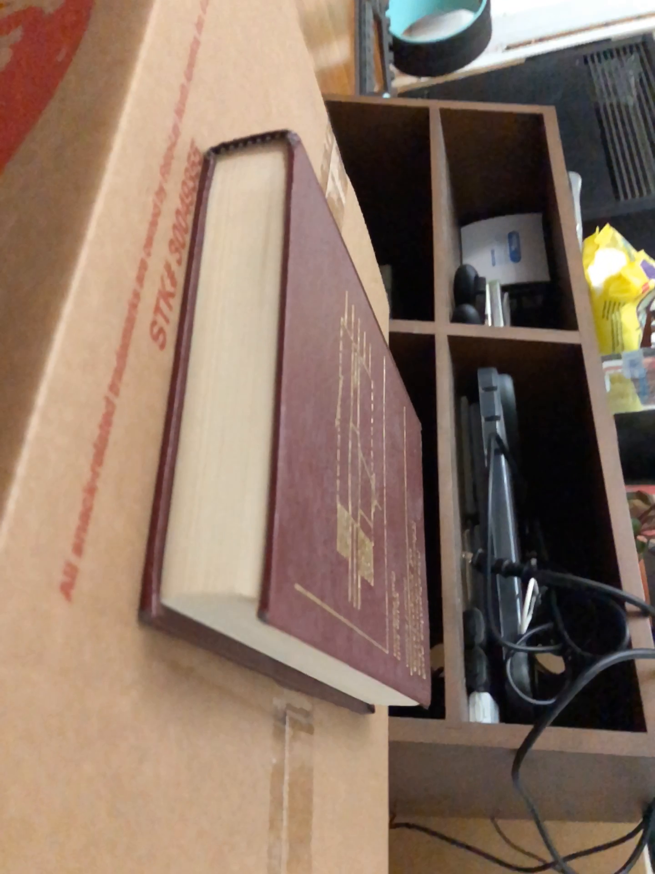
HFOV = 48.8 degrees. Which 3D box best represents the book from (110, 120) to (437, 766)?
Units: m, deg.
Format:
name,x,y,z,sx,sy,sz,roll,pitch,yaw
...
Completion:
name,x,y,z,sx,sy,sz,roll,pitch,yaw
book,0.004,0.031,0.311,0.241,0.040,0.190,57,30,-59
